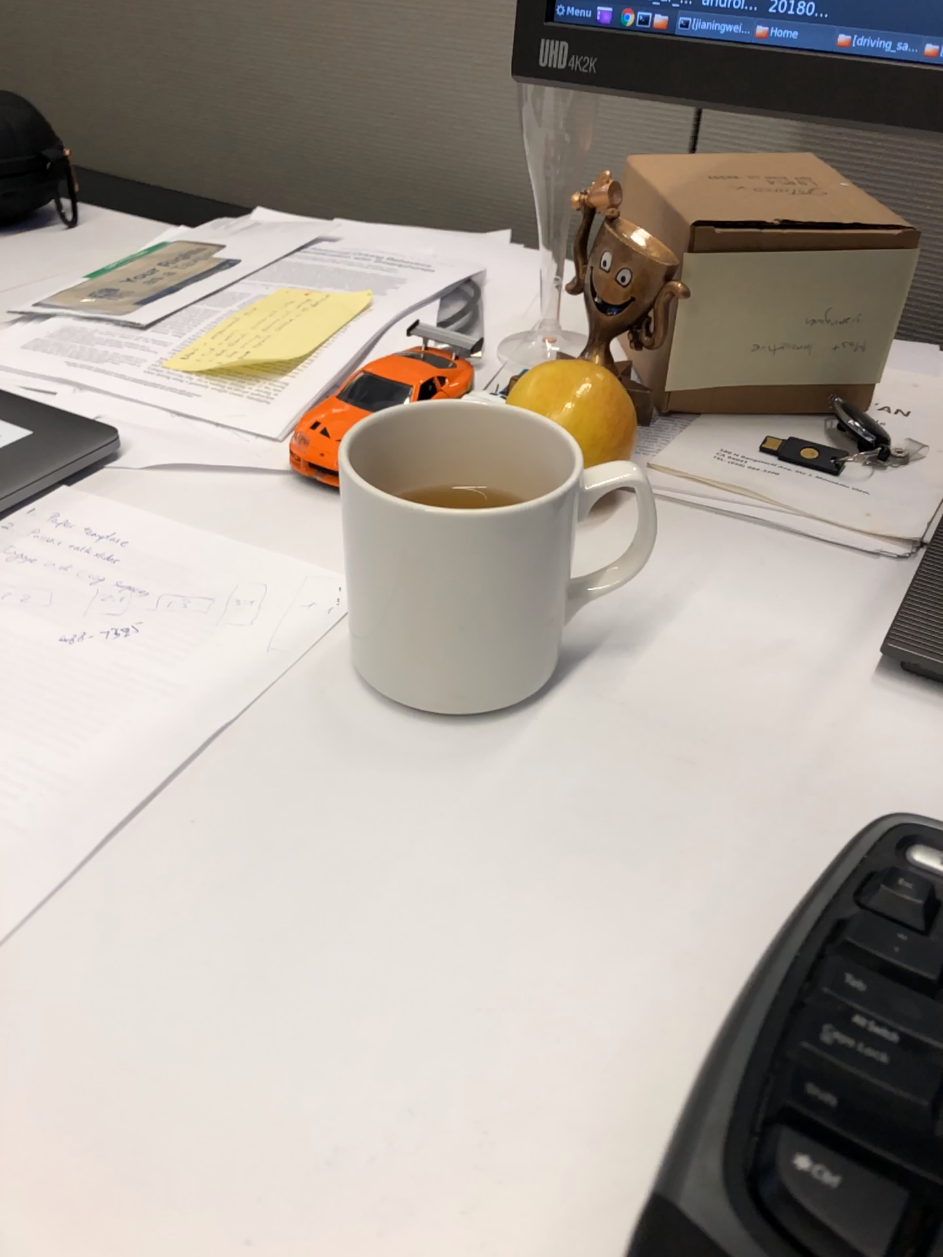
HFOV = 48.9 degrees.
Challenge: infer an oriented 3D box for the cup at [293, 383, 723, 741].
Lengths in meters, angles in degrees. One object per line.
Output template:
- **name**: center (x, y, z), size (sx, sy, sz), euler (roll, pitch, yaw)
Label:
- **cup**: center (0.006, -0.026, 0.350), size (0.120, 0.080, 0.080), euler (-6, 37, -11)
